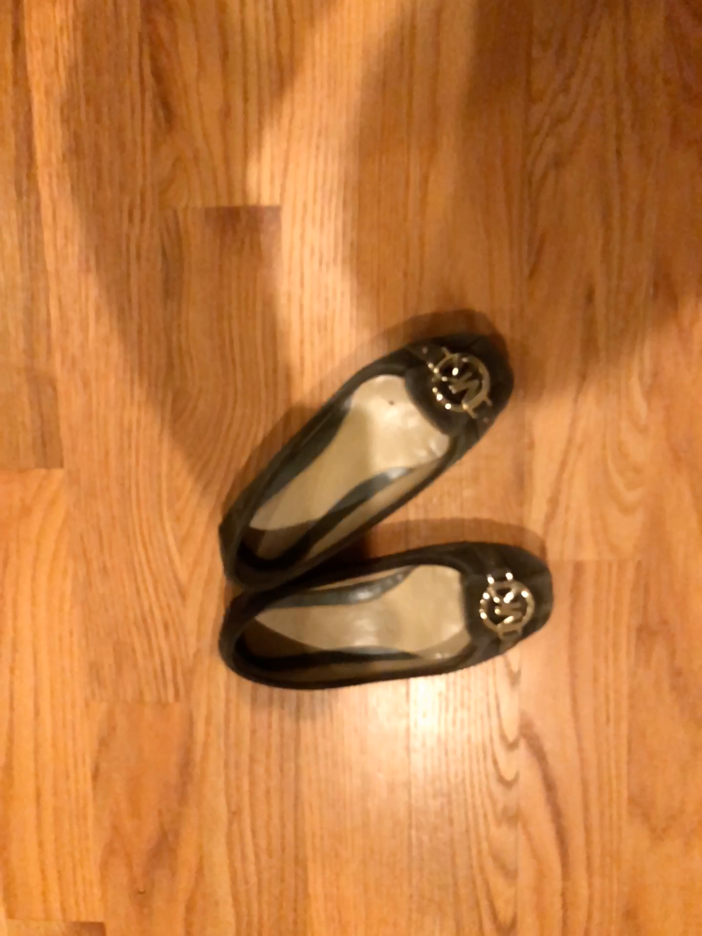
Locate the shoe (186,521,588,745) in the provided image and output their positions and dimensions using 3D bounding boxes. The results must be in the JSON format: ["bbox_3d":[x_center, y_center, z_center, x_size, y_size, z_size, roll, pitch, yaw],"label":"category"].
[{"bbox_3d":[0.024,0.109,0.529,0.239,0.079,0.091,-10,99,6],"label":"shoe"}]

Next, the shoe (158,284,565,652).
[{"bbox_3d":[0.005,-0.001,0.507,0.242,0.079,0.091,-39,95,9],"label":"shoe"}]
